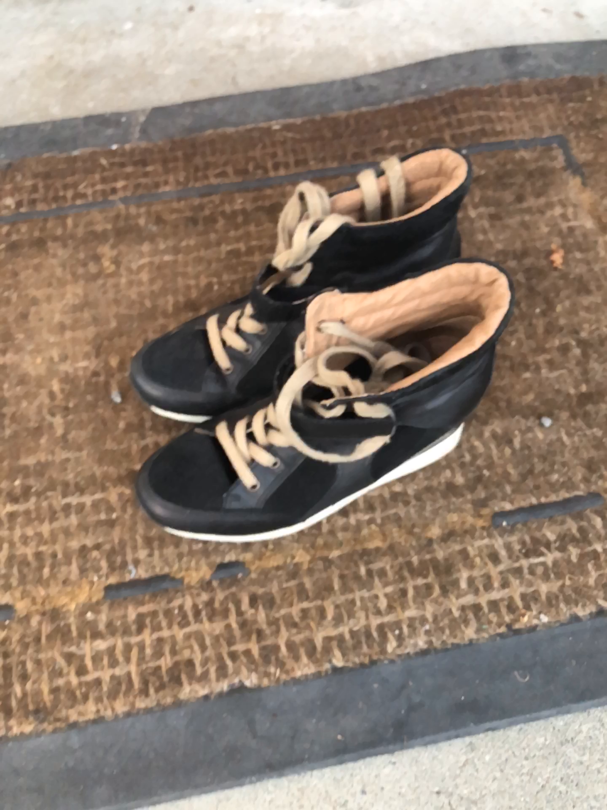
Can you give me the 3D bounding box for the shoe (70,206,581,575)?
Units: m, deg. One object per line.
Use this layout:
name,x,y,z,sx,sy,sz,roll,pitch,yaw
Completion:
shoe,0.012,0.000,0.409,0.240,0.159,0.090,-18,62,-7

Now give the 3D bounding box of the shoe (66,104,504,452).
shoe,-0.010,-0.076,0.449,0.230,0.159,0.090,-17,62,-7
